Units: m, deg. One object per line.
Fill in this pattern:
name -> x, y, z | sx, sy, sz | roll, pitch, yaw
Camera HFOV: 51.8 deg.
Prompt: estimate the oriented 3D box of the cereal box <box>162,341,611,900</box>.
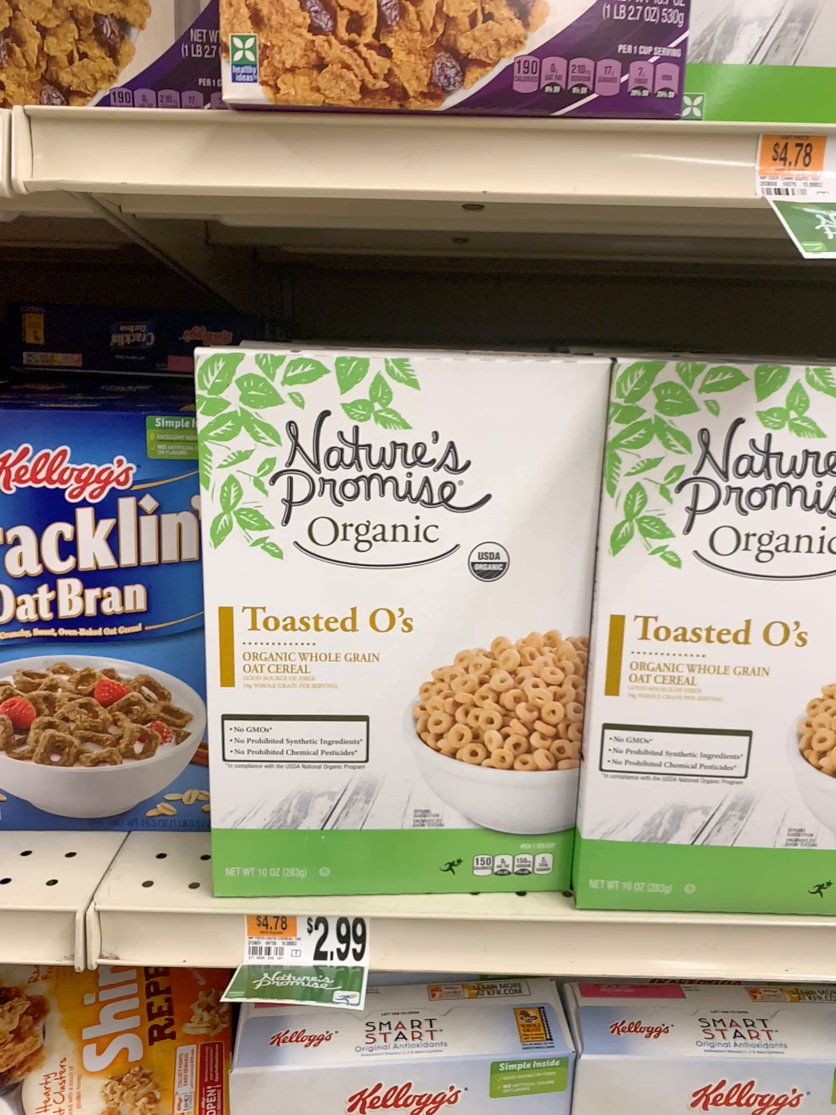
cereal box -> -0.017, 0.033, 0.434 | 0.190, 0.269, 0.070 | 0, 15, -3
